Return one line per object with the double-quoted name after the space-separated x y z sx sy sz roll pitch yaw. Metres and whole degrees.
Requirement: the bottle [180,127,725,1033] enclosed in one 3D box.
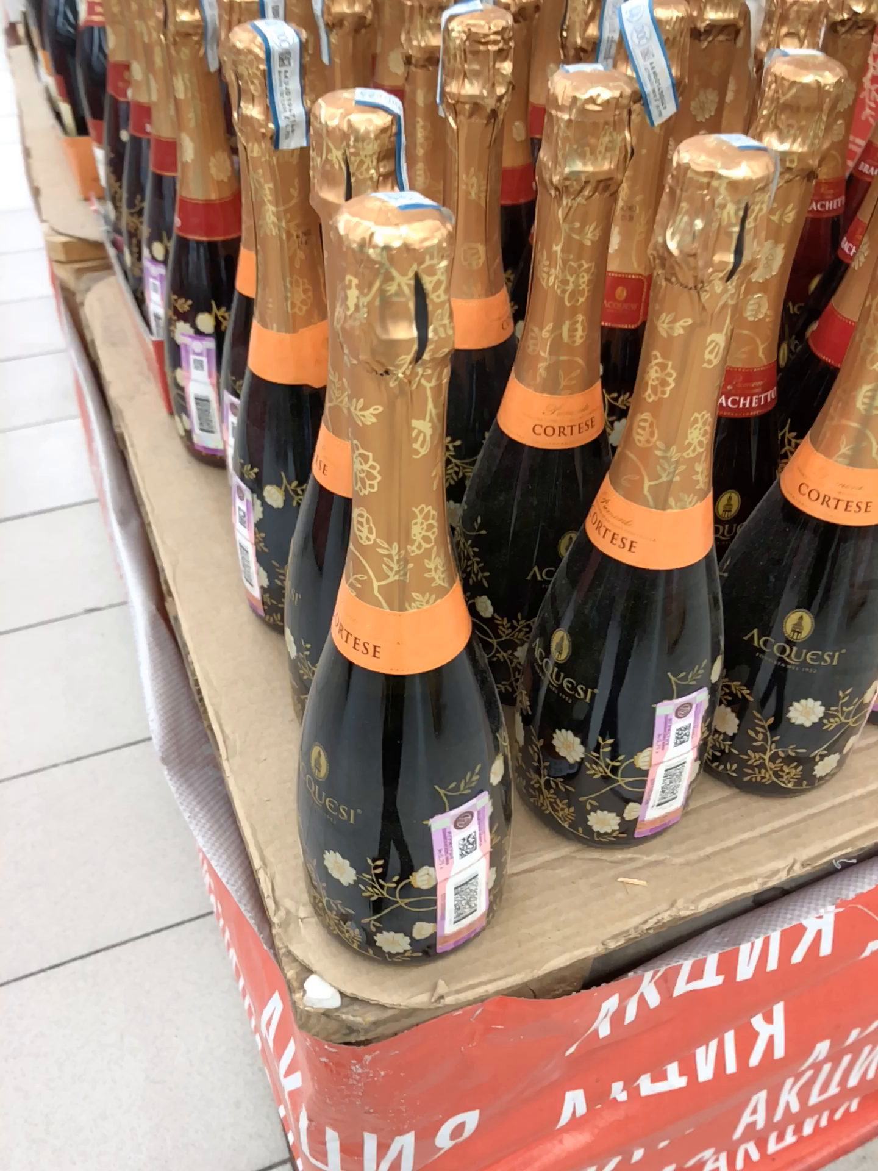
0.000 0.023 0.356 0.100 0.318 0.100 0 42 0 "bottle"
